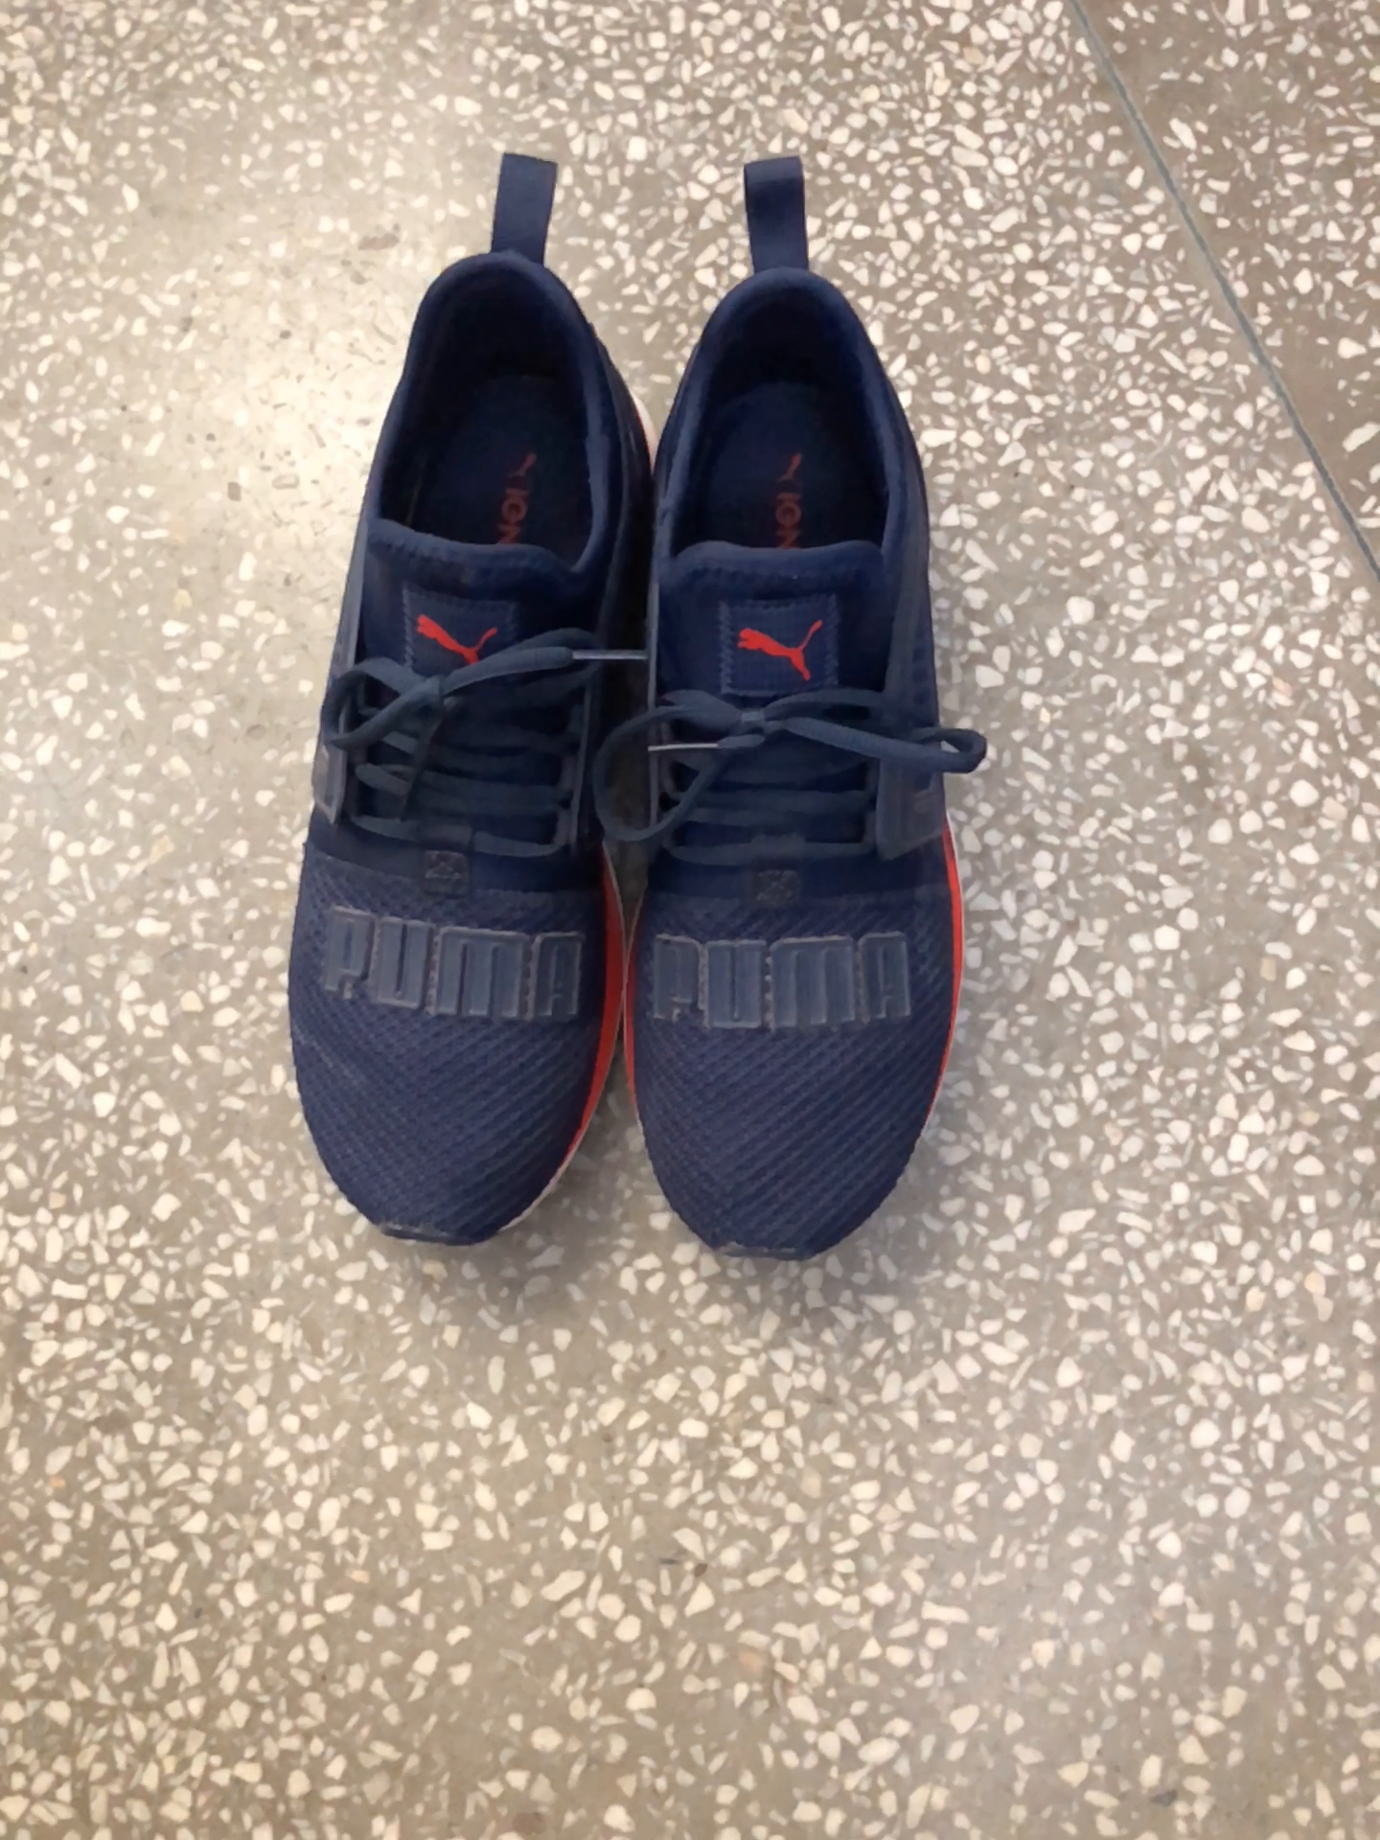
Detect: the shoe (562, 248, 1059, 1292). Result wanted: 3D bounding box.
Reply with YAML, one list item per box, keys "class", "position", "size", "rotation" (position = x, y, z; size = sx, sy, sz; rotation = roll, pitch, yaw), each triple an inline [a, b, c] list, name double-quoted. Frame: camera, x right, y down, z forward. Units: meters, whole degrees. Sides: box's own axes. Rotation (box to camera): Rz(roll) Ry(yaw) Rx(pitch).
- class: "shoe"
  position: [0.034, -0.034, 0.427]
  size: [0.107, 0.113, 0.257]
  rotation: [4, 79, 2]

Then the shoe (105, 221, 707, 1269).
- class: "shoe"
  position: [-0.065, -0.041, 0.431]
  size: [0.107, 0.113, 0.257]
  rotation: [7, 79, 3]
